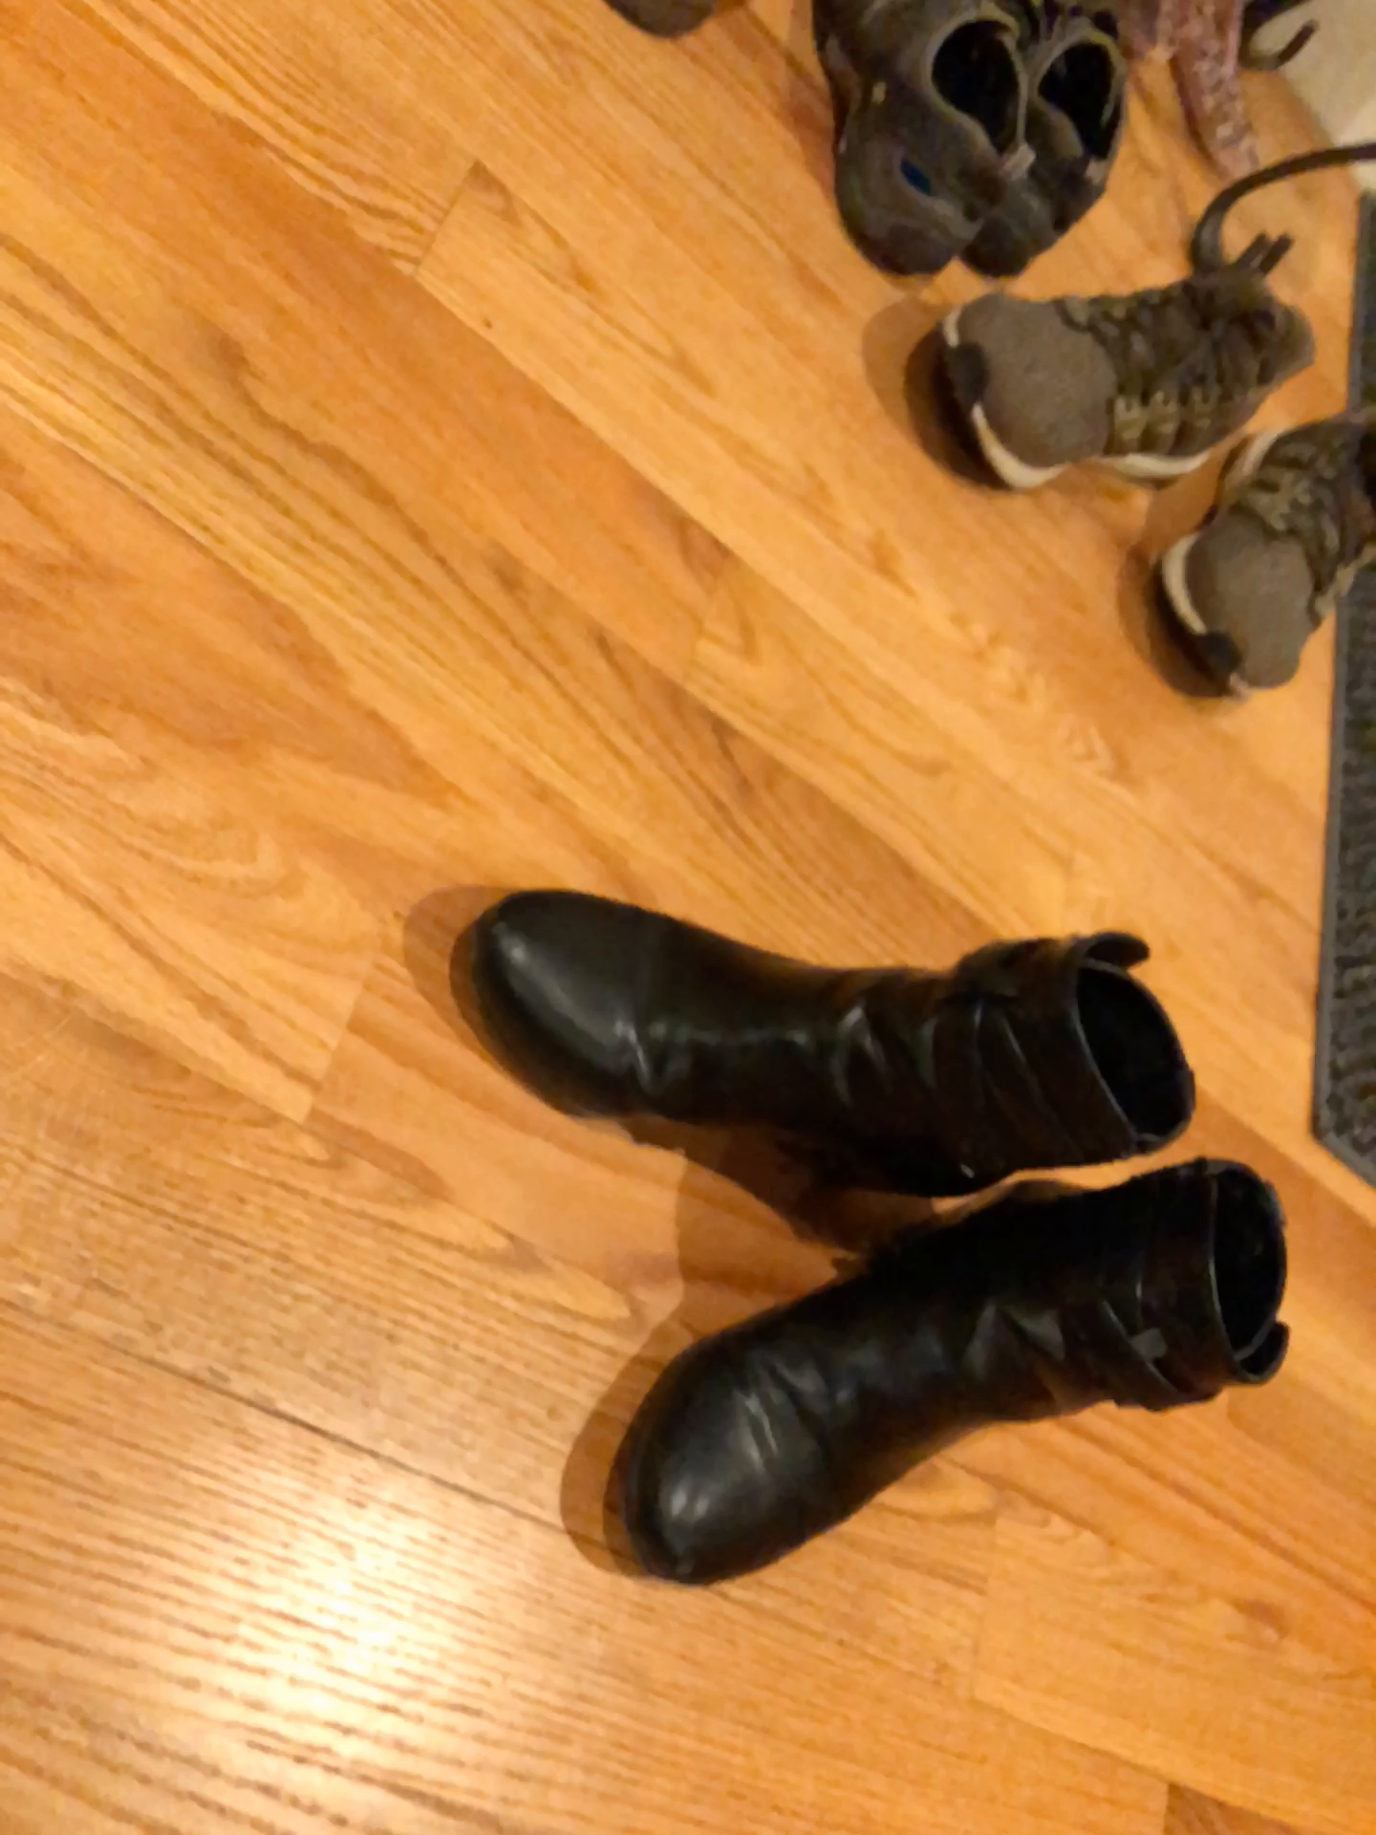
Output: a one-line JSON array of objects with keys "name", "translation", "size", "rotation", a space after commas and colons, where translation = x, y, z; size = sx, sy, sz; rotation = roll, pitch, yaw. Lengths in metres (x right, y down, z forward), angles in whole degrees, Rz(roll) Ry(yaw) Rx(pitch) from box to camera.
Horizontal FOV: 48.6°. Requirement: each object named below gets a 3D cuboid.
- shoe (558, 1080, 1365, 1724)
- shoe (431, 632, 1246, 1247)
[{"name": "shoe", "translation": [0.102, 0.160, 0.546], "size": [0.227, 0.172, 0.090], "rotation": [-26, 93, -43]}, {"name": "shoe", "translation": [0.058, 0.027, 0.550], "size": [0.227, 0.172, 0.090], "rotation": [31, 57, -29]}]
